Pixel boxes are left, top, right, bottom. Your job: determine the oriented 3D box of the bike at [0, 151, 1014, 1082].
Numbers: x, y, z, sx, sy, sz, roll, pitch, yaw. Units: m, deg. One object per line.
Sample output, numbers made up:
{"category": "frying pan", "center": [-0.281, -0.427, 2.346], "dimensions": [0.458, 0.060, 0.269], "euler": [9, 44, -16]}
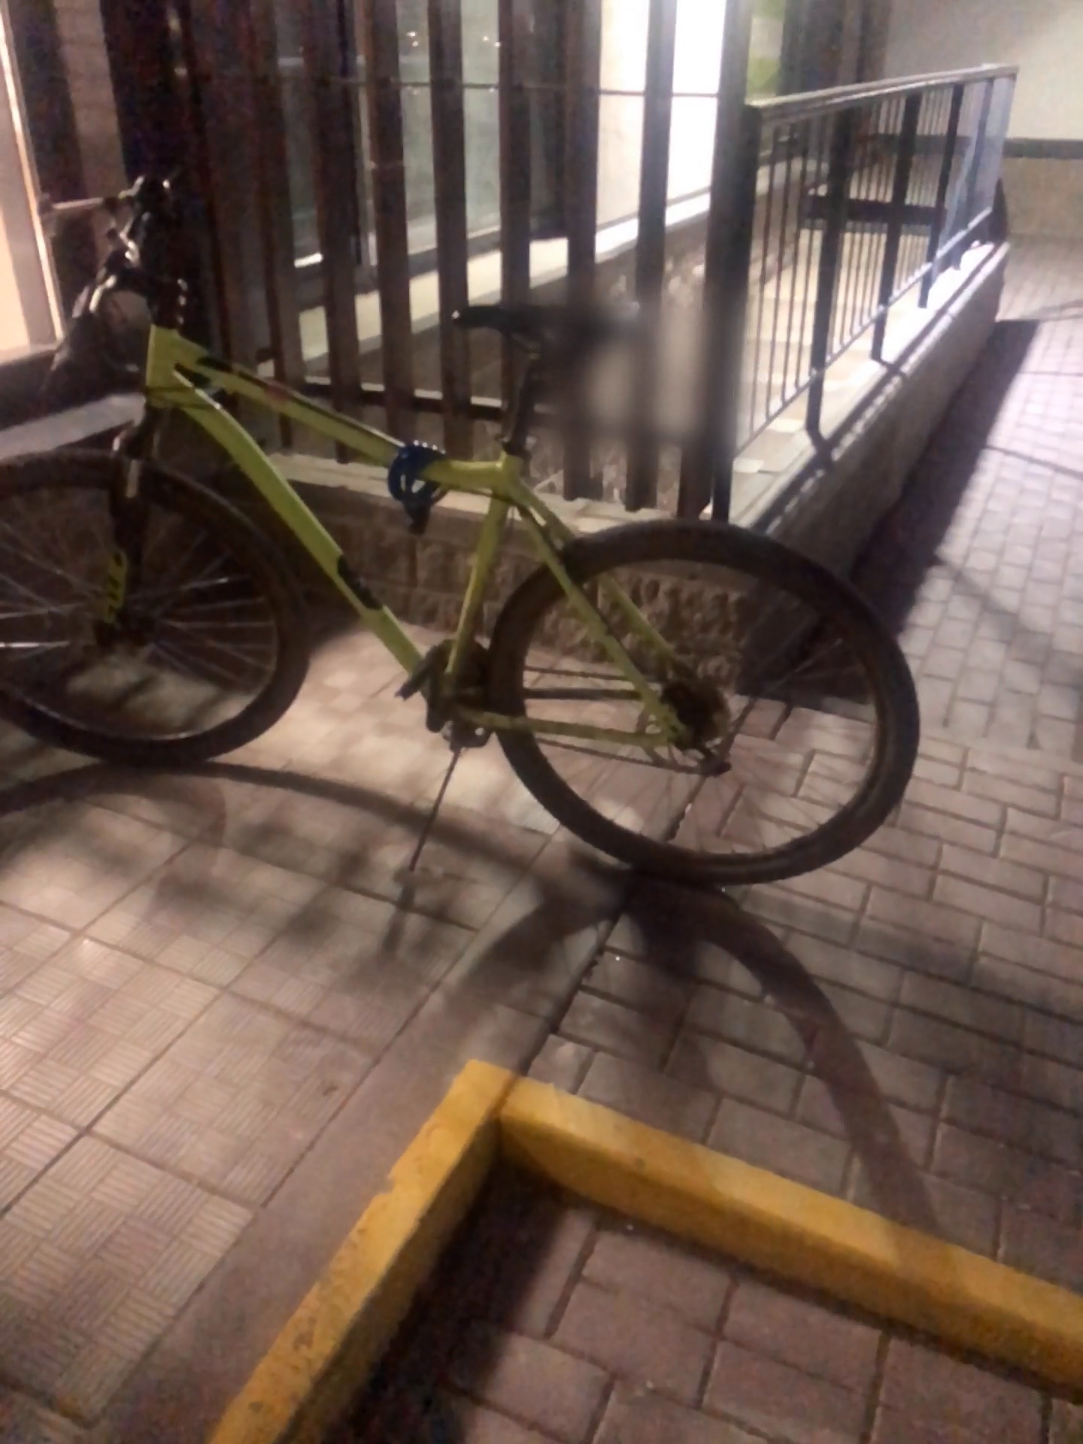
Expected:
{"category": "bike", "center": [-0.297, -0.245, 1.886], "dimensions": [1.761, 1.095, 0.723], "euler": [8, 30, 11]}
